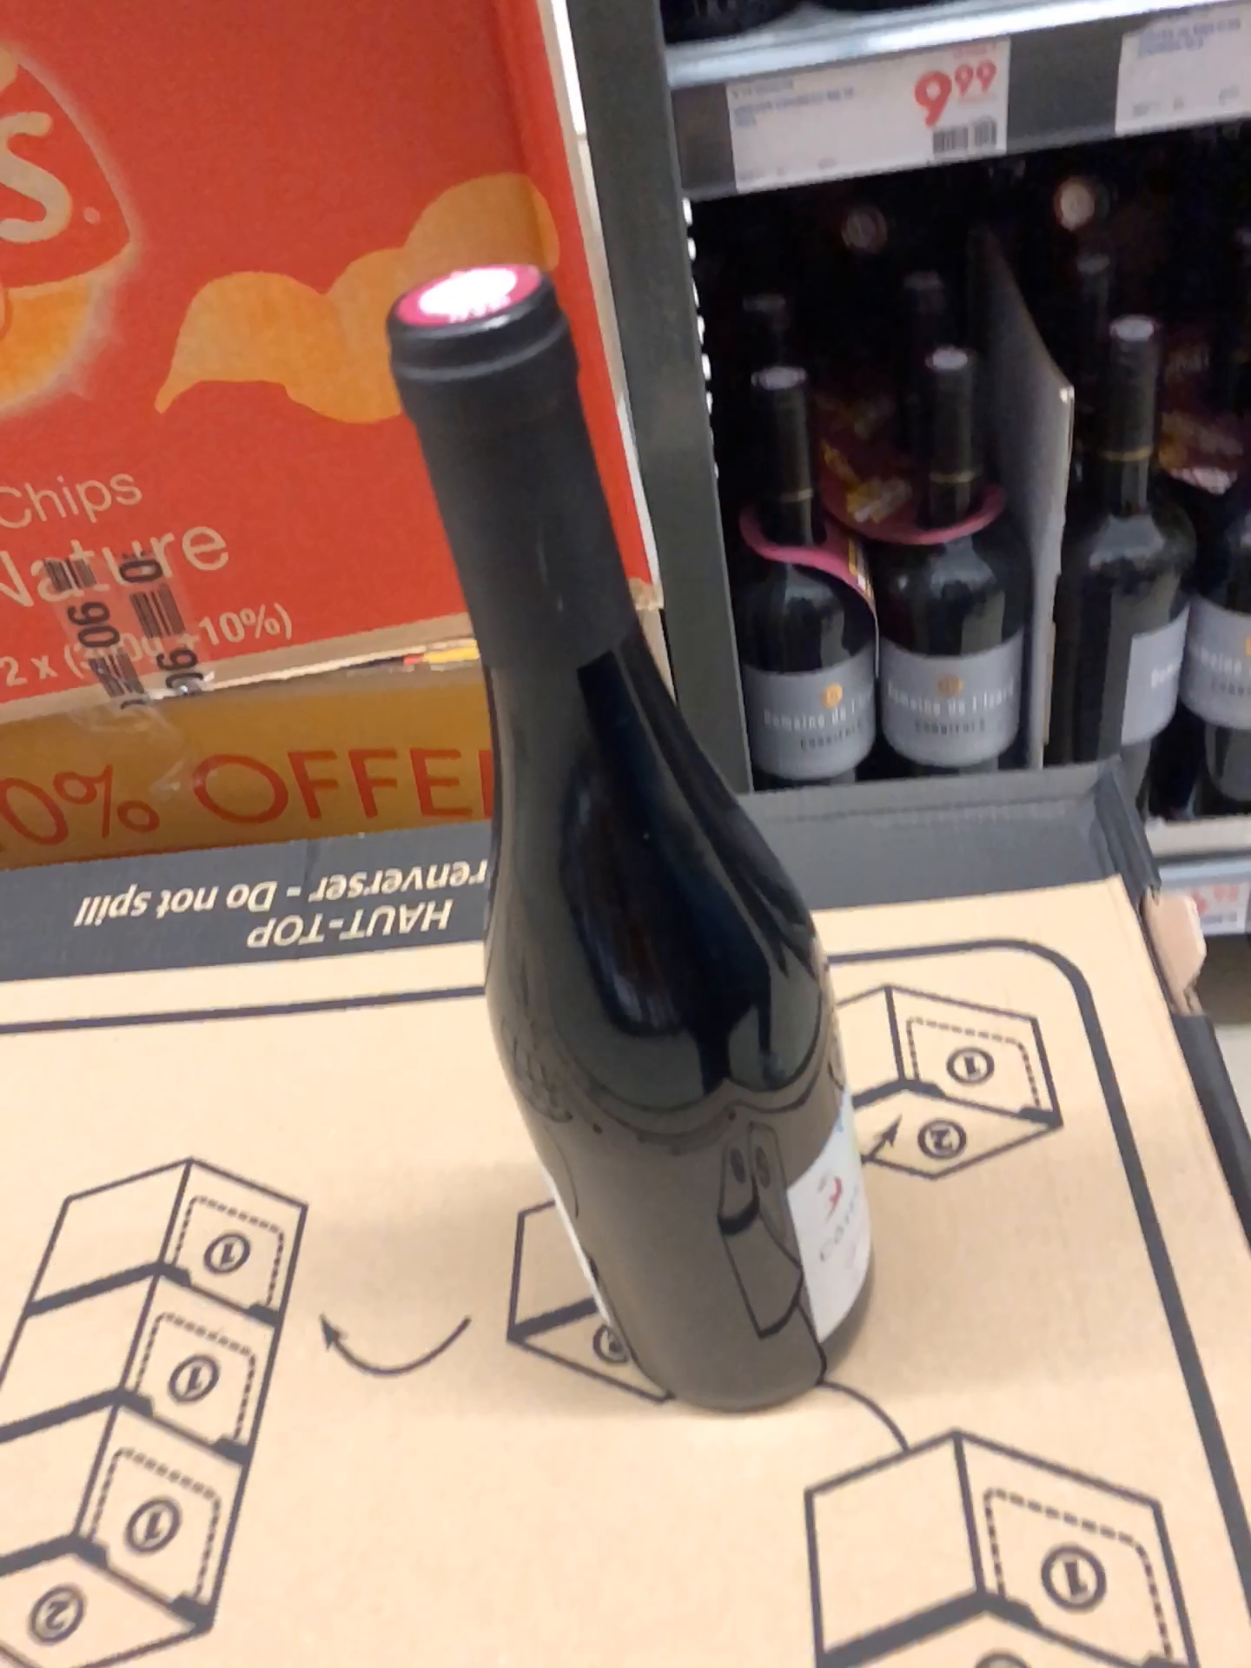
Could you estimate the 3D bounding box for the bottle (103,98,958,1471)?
[{"bbox_3d":[0.008,0.021,0.295,0.090,0.288,0.101,-12,43,5],"label":"bottle"}]
